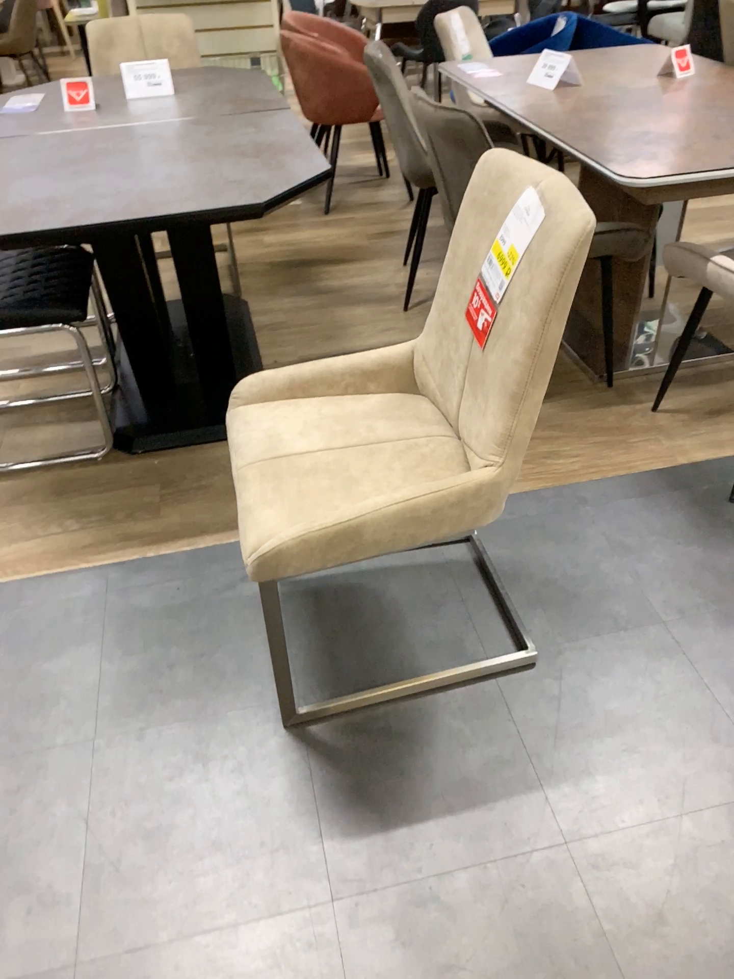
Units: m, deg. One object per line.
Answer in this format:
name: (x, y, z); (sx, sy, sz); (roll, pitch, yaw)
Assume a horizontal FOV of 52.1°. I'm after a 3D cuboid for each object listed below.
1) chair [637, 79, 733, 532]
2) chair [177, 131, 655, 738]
chair: (1.104, -0.453, 1.826); (0.480, 0.842, 0.627); (-9, 38, -8)
chair: (0.041, -0.090, 1.369); (0.583, 0.887, 0.512); (-10, 38, -9)
